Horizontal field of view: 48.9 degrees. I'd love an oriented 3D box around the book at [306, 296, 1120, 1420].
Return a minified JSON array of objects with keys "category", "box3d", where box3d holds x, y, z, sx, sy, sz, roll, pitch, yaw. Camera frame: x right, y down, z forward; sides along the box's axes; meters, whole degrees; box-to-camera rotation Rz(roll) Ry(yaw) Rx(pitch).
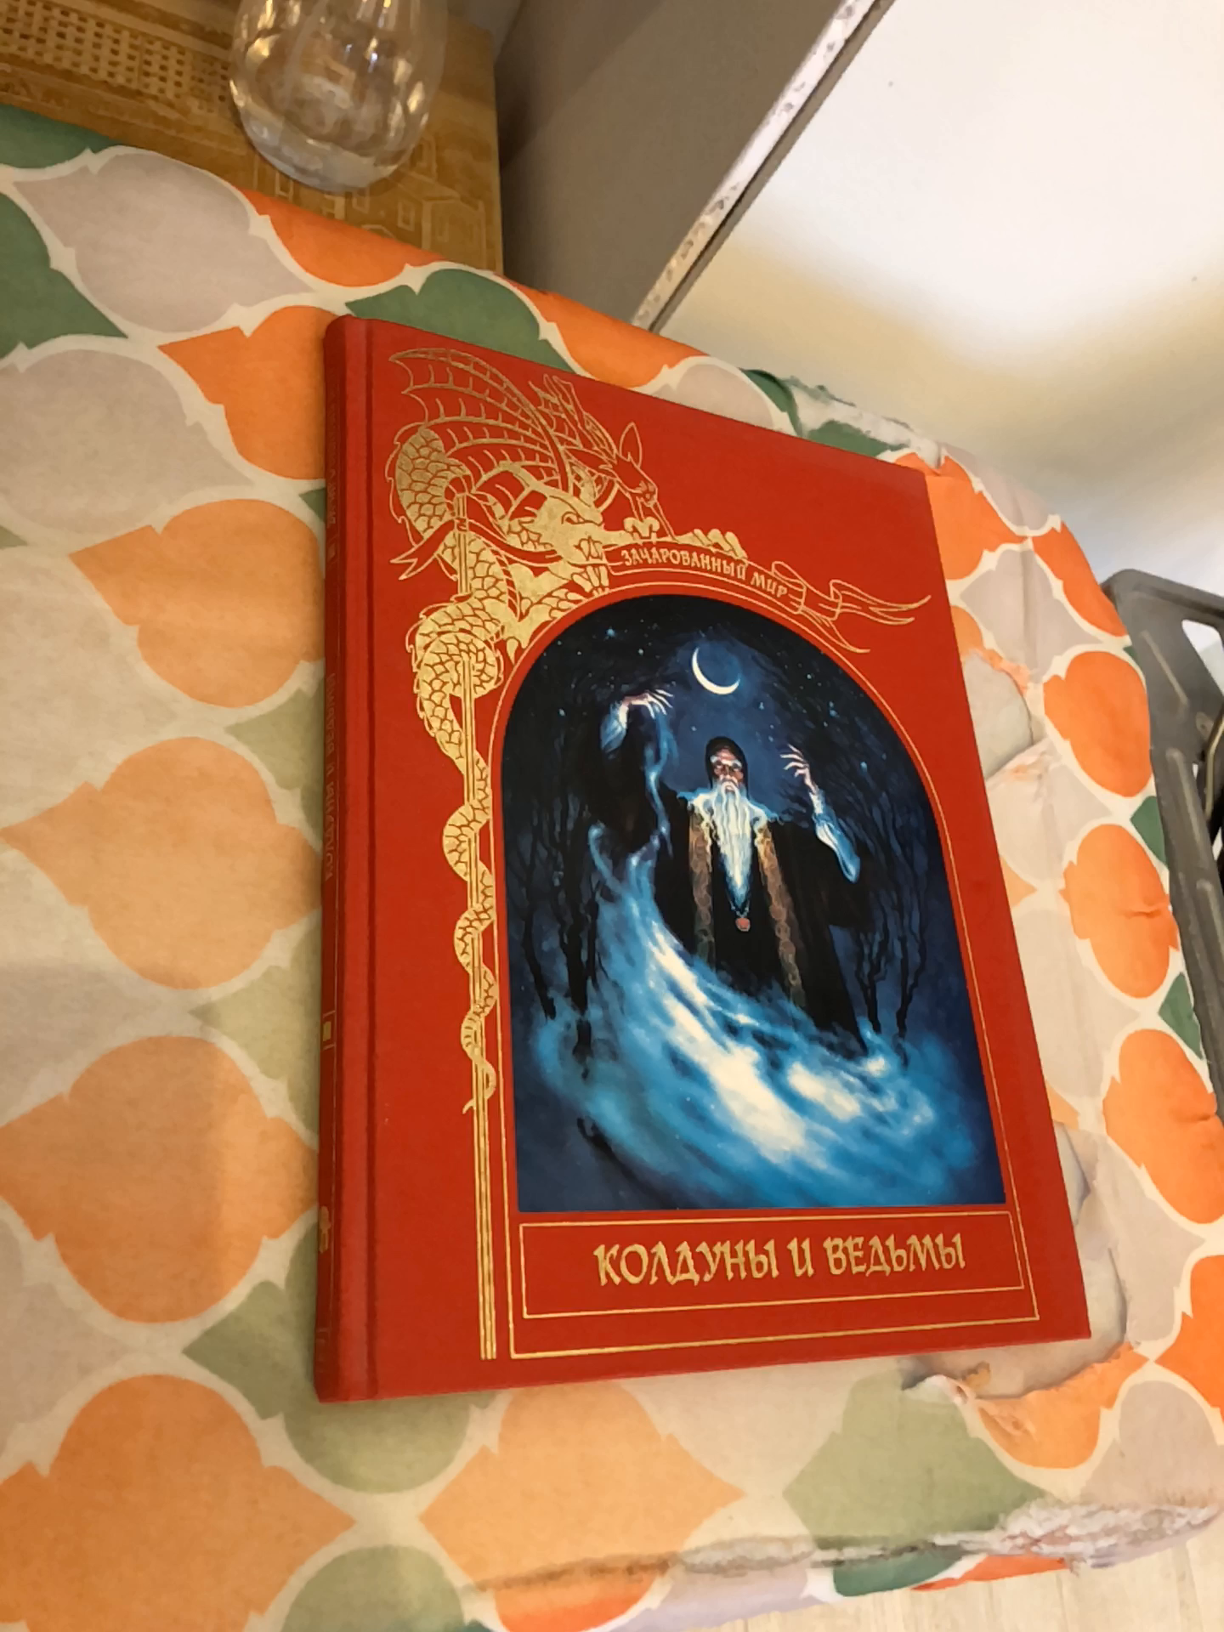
[{"category":"book","box3d":[0.024,0.001,0.380,0.216,0.020,0.291,7,64,-26]}]
